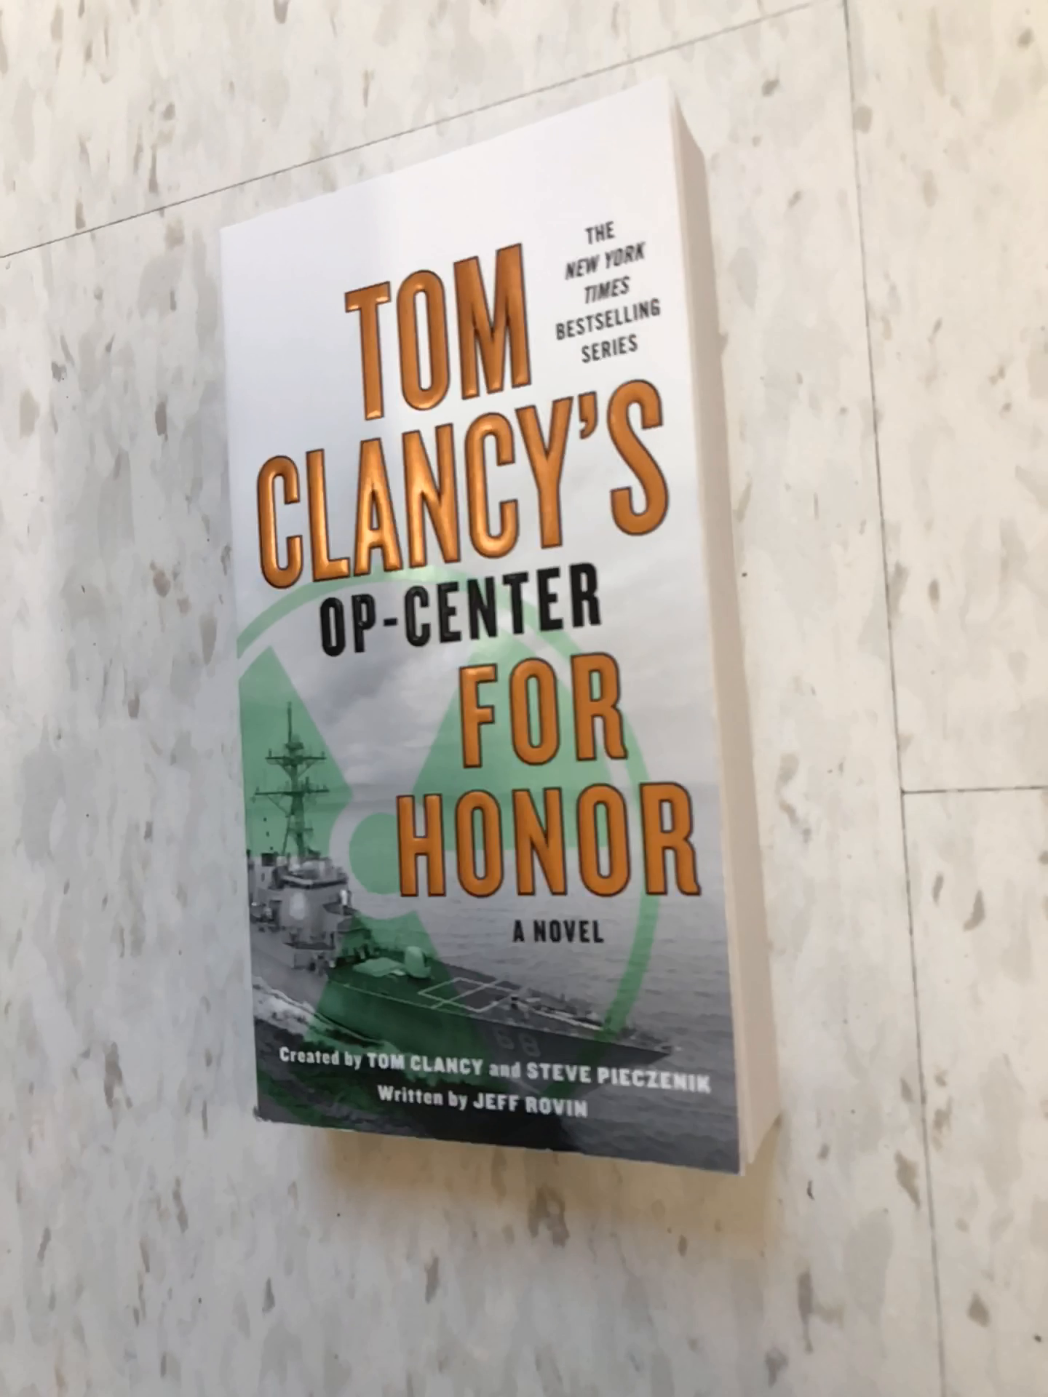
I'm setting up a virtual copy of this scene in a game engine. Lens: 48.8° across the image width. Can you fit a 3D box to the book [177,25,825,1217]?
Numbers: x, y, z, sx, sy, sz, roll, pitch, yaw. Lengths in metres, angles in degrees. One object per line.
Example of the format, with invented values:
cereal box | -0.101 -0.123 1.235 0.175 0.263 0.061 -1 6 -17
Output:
book | -0.007 -0.011 0.237 0.110 0.050 0.200 -5 86 24
